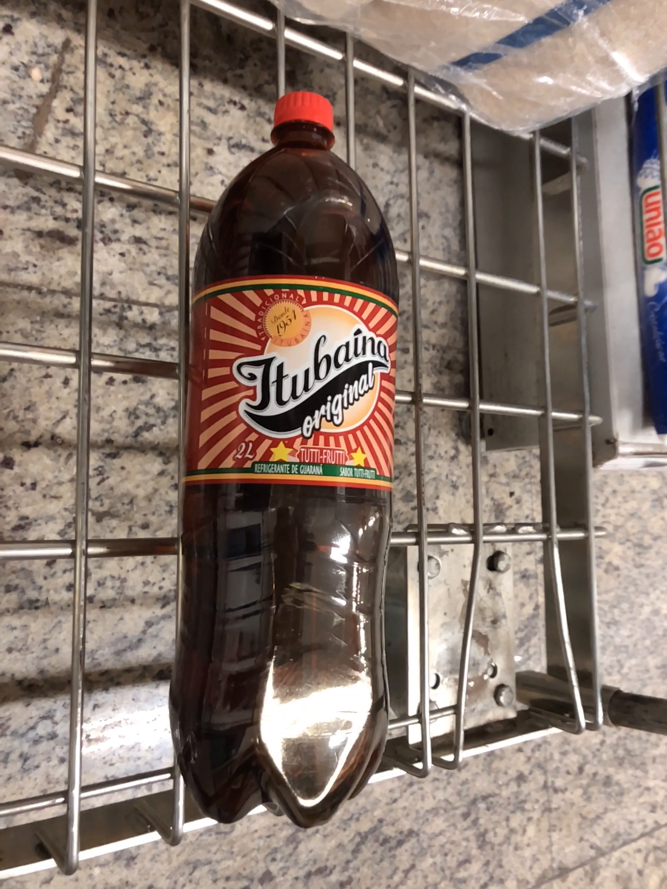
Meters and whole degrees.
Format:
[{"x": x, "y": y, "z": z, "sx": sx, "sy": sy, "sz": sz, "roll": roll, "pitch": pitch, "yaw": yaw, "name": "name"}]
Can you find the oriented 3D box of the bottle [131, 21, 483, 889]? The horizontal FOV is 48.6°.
[{"x": -0.008, "y": 0.005, "z": 0.327, "sx": 0.111, "sy": 0.070, "sz": 0.320, "roll": 8, "pitch": 84, "yaw": -34, "name": "bottle"}]
